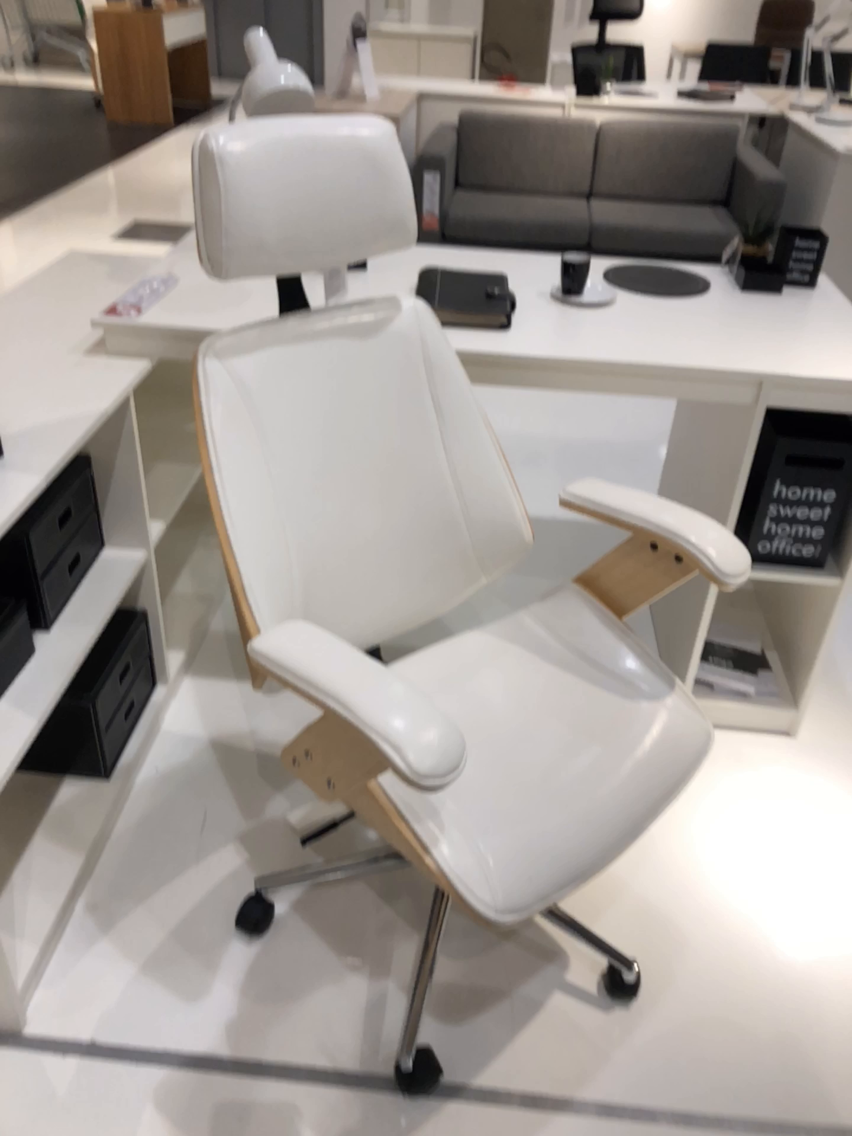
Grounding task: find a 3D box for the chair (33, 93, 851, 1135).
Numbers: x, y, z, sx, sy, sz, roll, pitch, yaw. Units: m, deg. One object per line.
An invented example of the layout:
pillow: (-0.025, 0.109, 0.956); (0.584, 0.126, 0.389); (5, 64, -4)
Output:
chair: (0.052, 0.045, 1.245); (0.673, 1.101, 0.703); (-24, 42, -35)
